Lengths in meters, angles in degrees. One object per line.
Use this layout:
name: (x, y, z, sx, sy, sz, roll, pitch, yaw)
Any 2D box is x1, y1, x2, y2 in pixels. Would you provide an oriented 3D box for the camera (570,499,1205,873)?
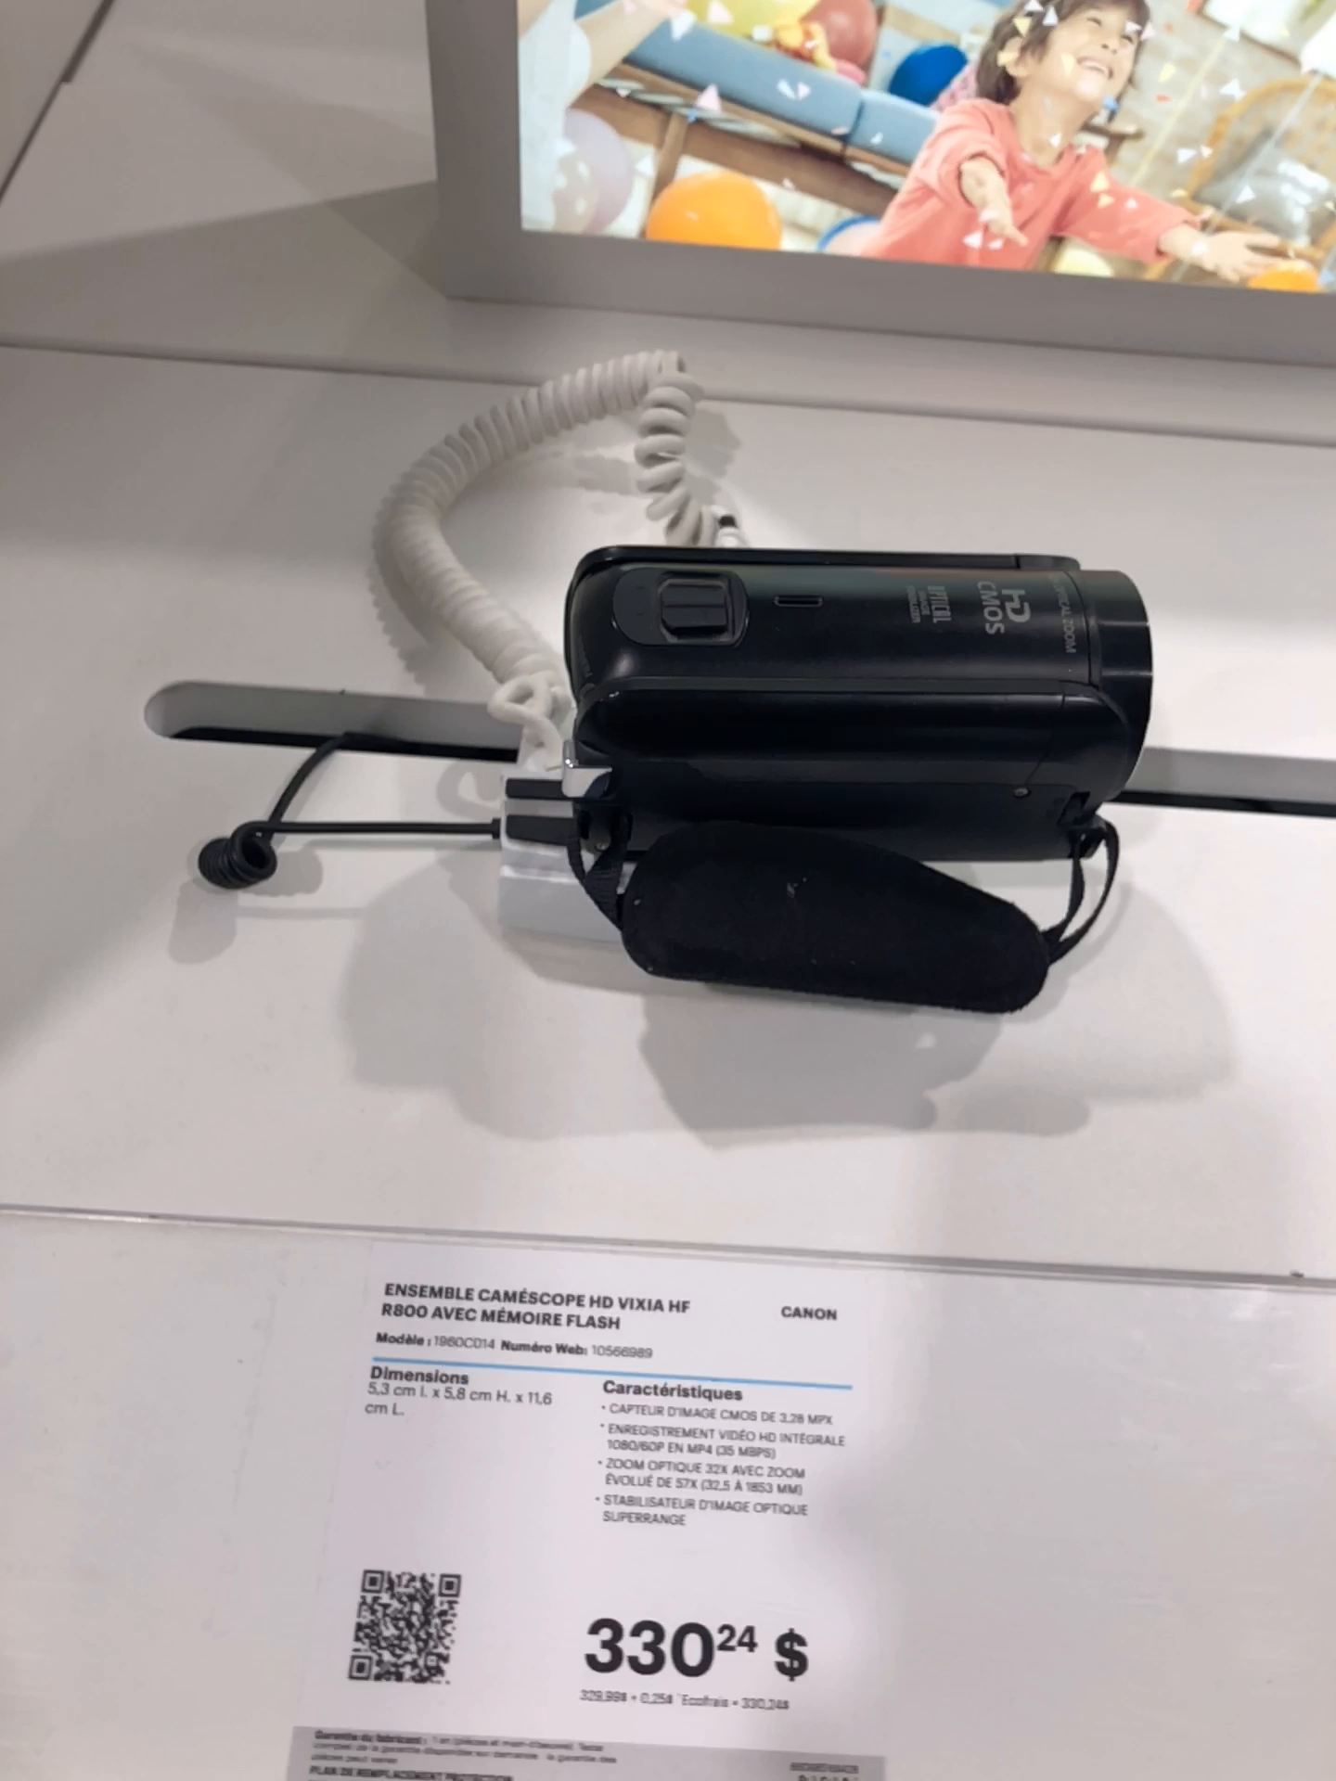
camera: (0.038, -0.040, 0.297, 0.113, 0.050, 0.050, 1, 55, -4)
